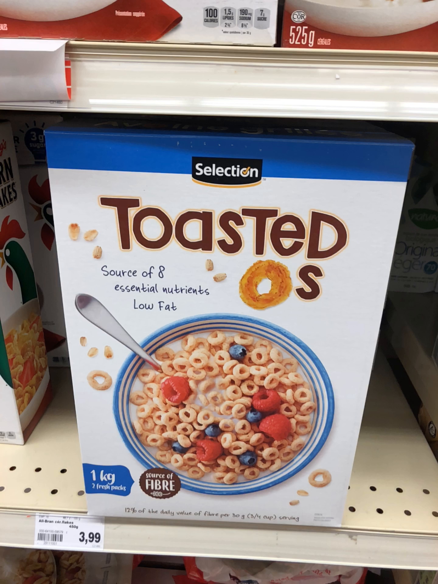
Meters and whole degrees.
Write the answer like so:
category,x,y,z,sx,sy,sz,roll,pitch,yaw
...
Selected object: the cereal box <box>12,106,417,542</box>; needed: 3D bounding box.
category,x,y,z,sx,sy,sz,roll,pitch,yaw
cereal box,-0.006,0.025,0.427,0.240,0.338,0.161,2,23,0
